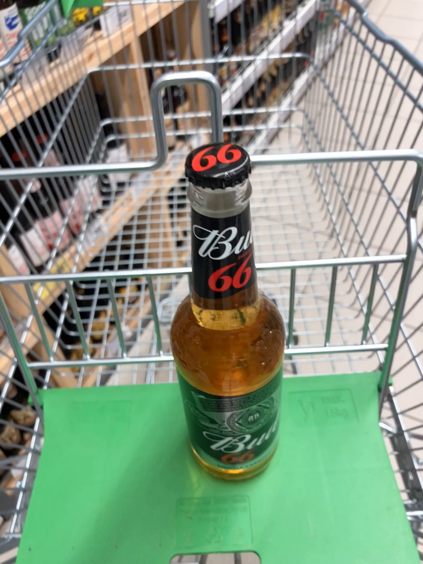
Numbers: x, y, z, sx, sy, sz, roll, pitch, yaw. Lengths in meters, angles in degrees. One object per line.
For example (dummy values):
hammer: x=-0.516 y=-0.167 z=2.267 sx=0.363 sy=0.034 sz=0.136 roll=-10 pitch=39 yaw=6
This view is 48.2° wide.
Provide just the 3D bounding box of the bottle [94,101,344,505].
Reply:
bottle: x=0.009 y=0.034 z=0.273 sx=0.080 sy=0.239 sz=0.070 roll=-18 pitch=46 yaw=-11
